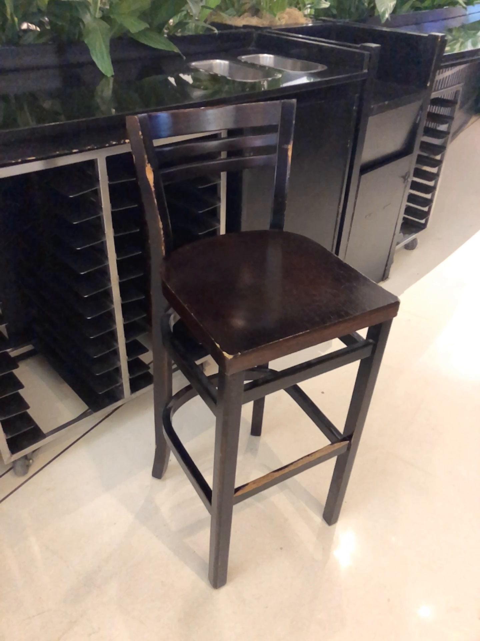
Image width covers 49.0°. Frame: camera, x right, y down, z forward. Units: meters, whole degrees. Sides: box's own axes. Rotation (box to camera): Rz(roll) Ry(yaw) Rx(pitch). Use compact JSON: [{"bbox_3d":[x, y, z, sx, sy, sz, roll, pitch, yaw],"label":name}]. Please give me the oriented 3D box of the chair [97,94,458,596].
[{"bbox_3d":[0.029,0.055,1.155,0.441,0.913,0.452,-17,39,-26],"label":"chair"}]
